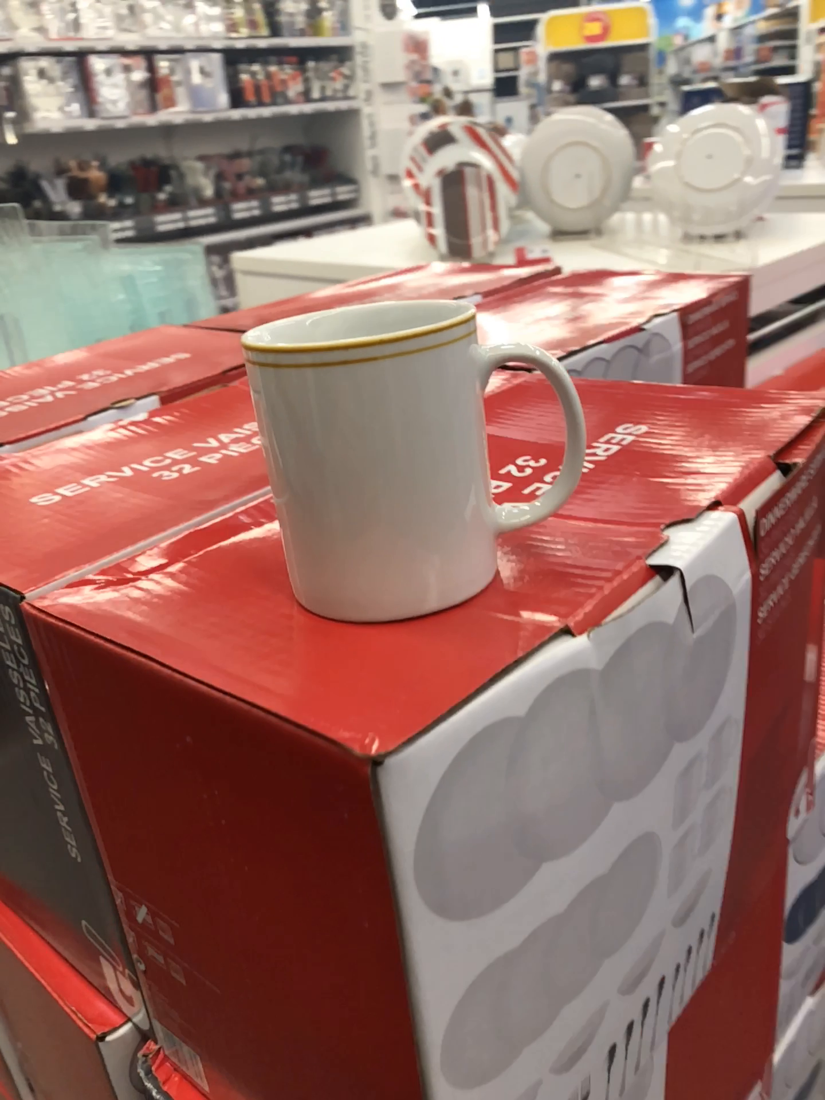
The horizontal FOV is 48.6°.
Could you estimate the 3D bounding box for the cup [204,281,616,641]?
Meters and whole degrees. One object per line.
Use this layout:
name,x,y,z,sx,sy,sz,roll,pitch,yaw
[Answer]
cup,0.002,-0.036,0.317,0.115,0.091,0.096,-4,23,1
